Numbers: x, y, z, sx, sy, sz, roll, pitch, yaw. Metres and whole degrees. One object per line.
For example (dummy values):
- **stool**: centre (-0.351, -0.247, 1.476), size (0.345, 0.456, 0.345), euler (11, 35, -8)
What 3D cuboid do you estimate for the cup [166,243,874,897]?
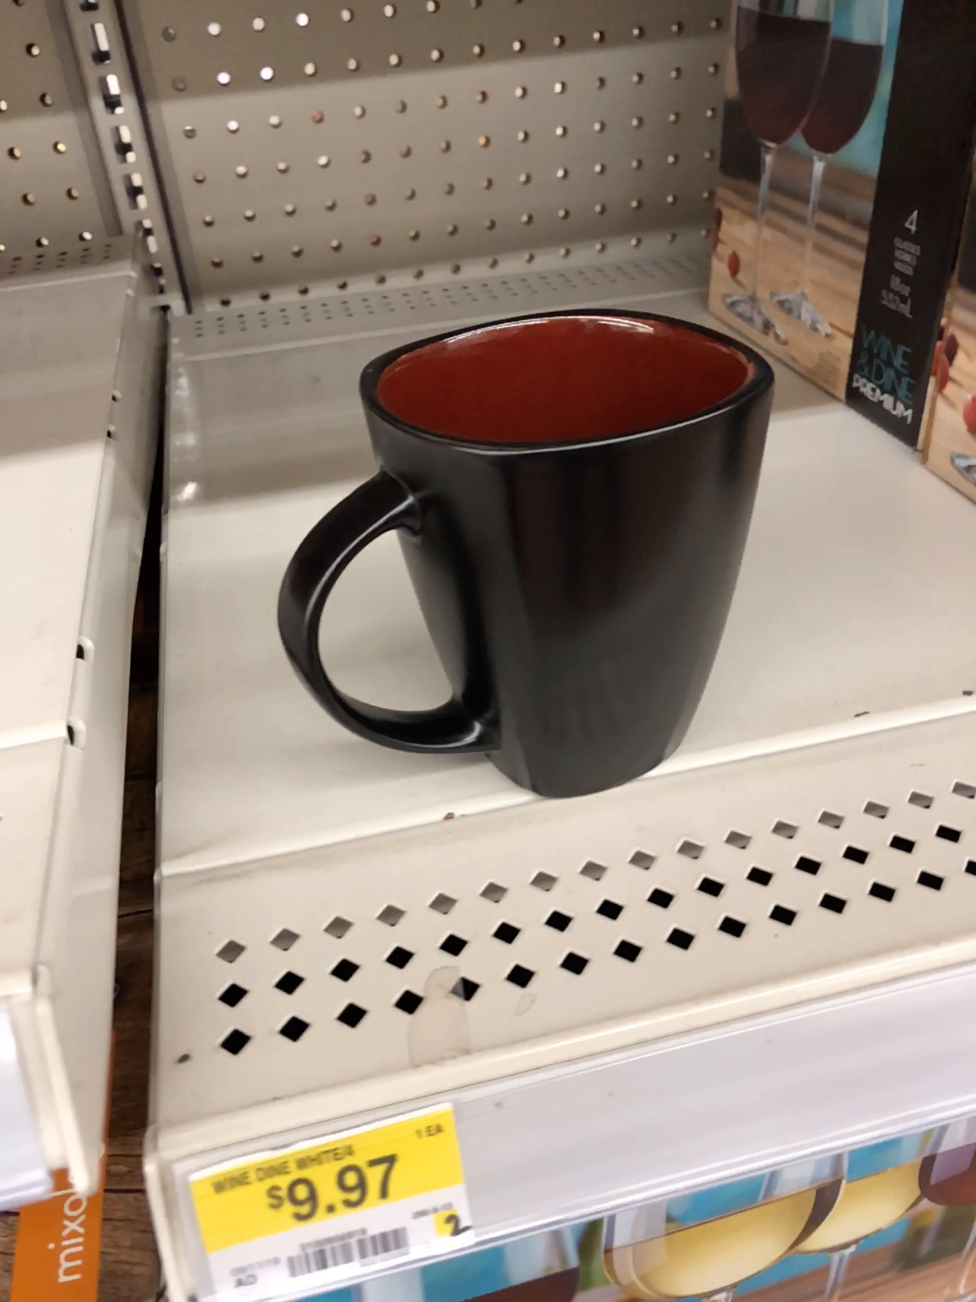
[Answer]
- **cup**: centre (0.007, -0.028, 0.269), size (0.130, 0.100, 0.090), euler (-19, 37, -19)
